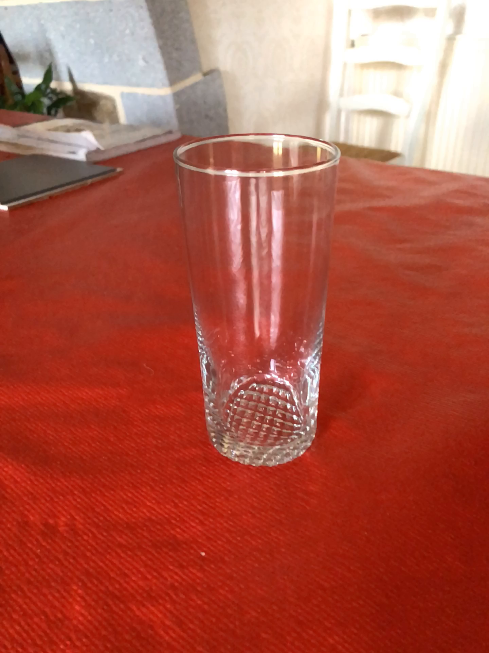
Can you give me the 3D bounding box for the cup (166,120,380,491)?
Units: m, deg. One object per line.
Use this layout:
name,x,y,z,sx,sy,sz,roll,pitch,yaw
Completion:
cup,0.014,-0.008,0.245,0.070,0.149,0.070,-2,29,1
